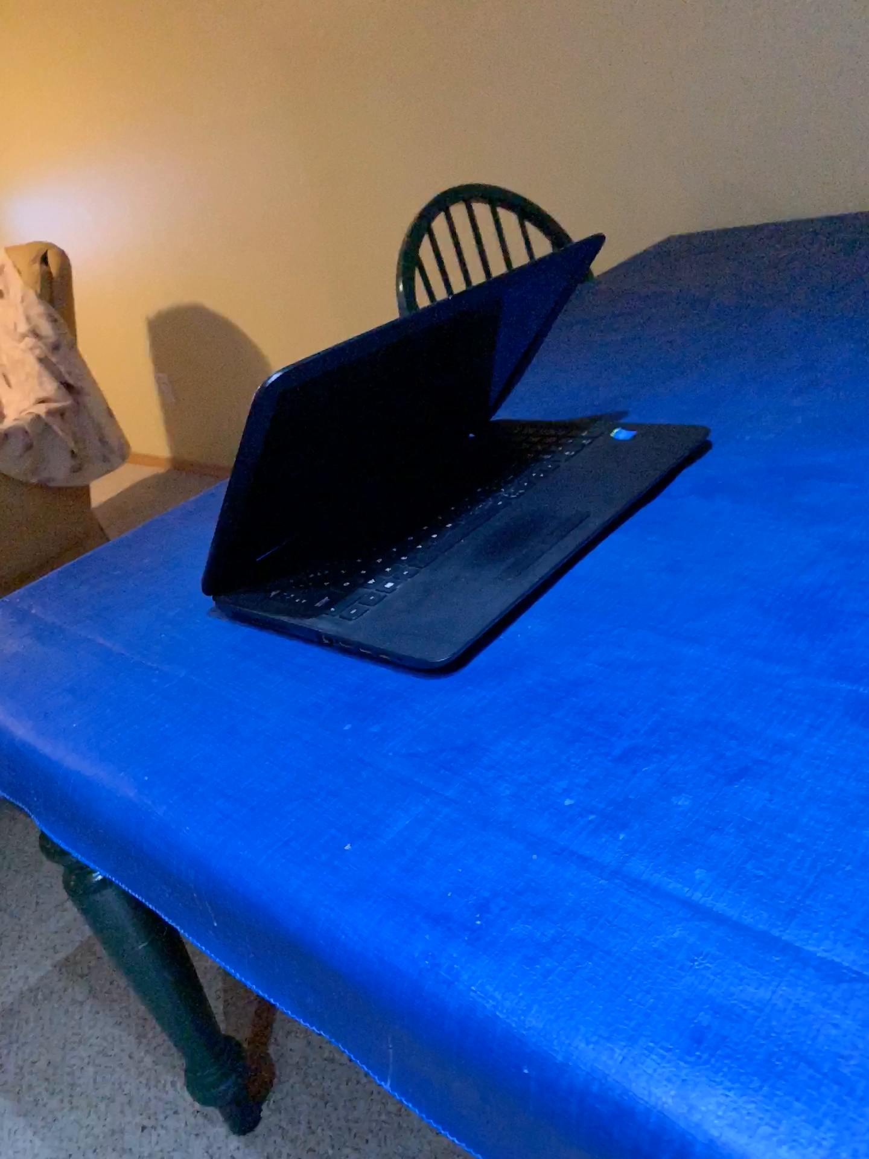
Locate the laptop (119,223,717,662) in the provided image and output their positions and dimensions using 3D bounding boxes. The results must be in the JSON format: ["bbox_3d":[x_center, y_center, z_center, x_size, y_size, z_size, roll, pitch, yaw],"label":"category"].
[{"bbox_3d":[0.009,-0.132,0.694,0.252,0.167,0.372,11,37,42],"label":"laptop"}]
